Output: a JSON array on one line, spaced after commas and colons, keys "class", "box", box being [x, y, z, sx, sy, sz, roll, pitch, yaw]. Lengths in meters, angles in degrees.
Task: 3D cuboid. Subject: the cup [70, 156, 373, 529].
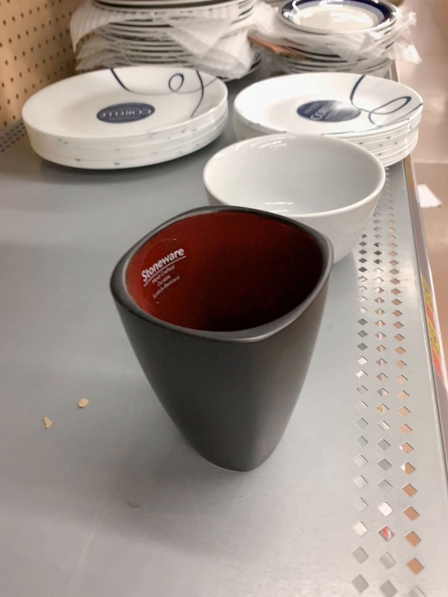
[{"class": "cup", "box": [0.011, 0.017, 0.252, 0.090, 0.129, 0.131, 15, 45, 20]}]
